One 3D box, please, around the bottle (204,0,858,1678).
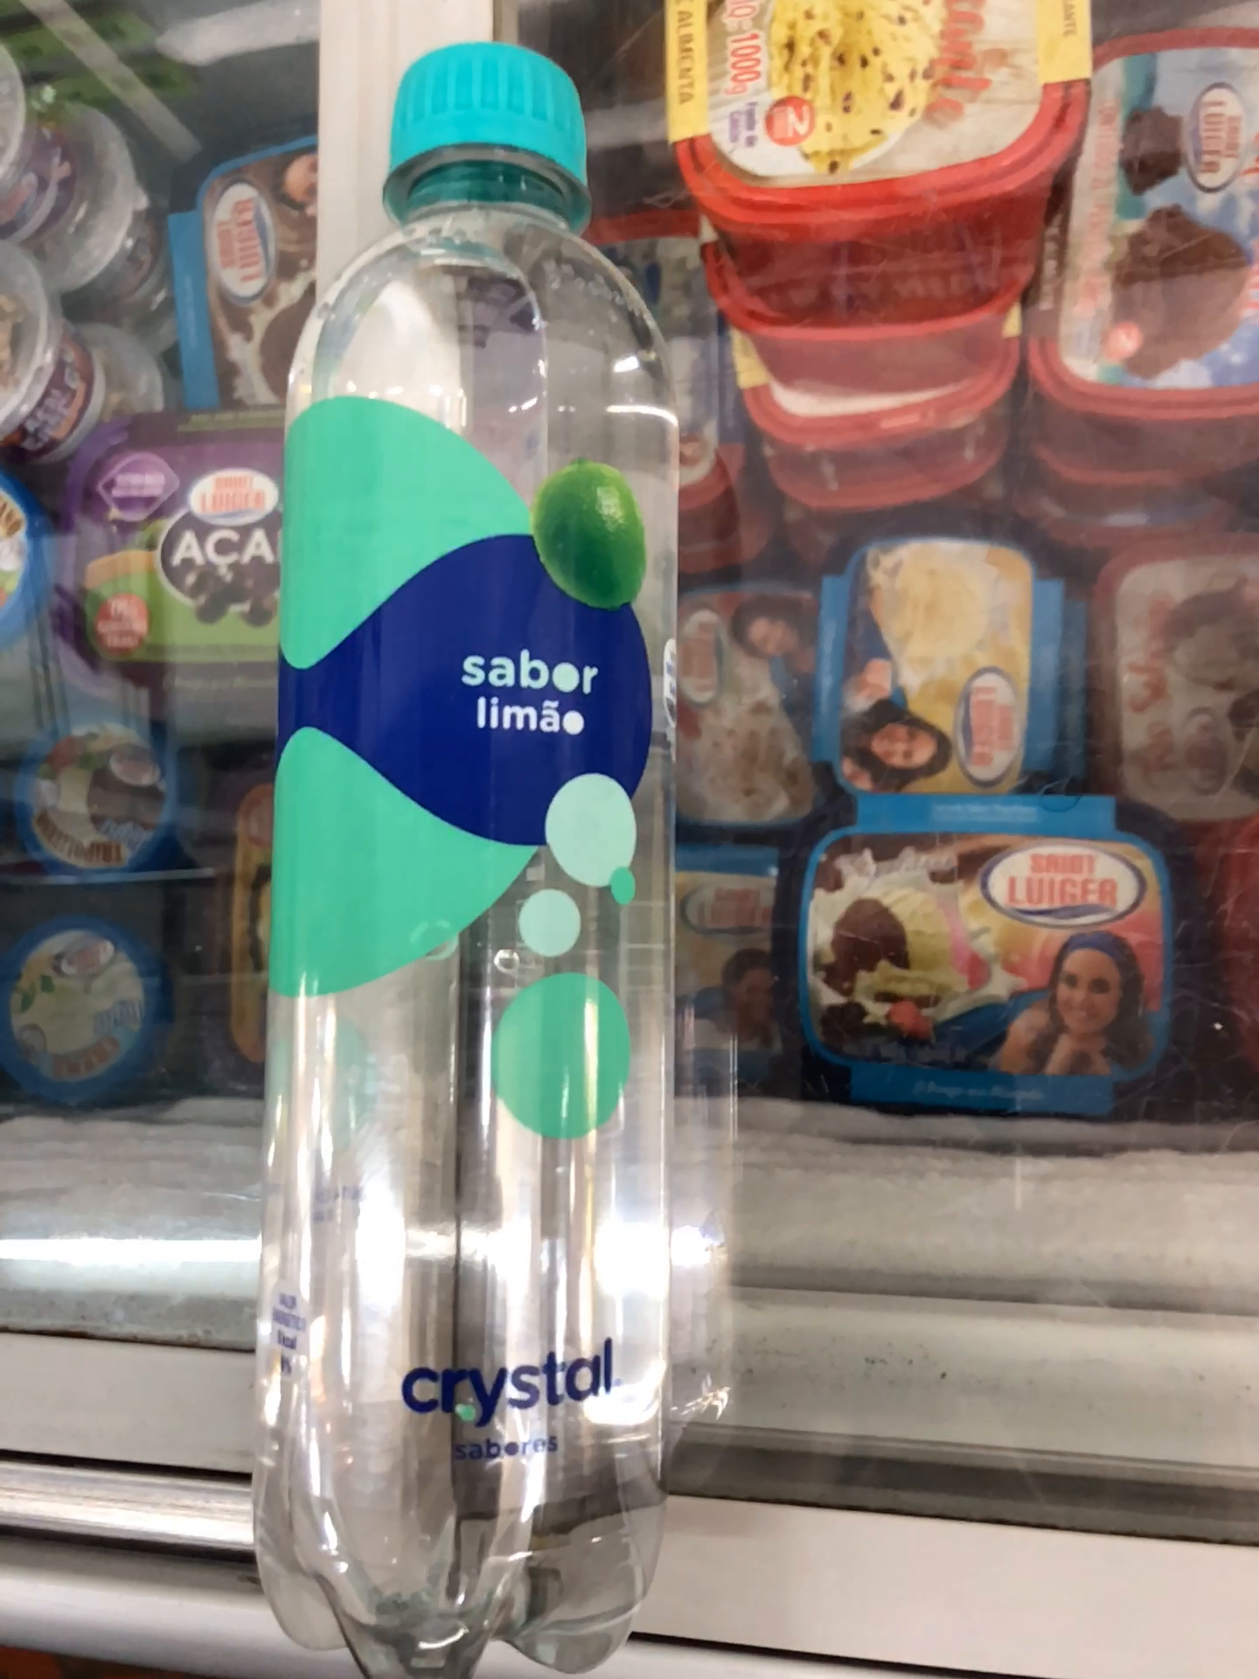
[{"bbox_3d":[-0.020,0.014,0.210,0.070,0.070,0.240,3,90,-19],"label":"bottle"}]
